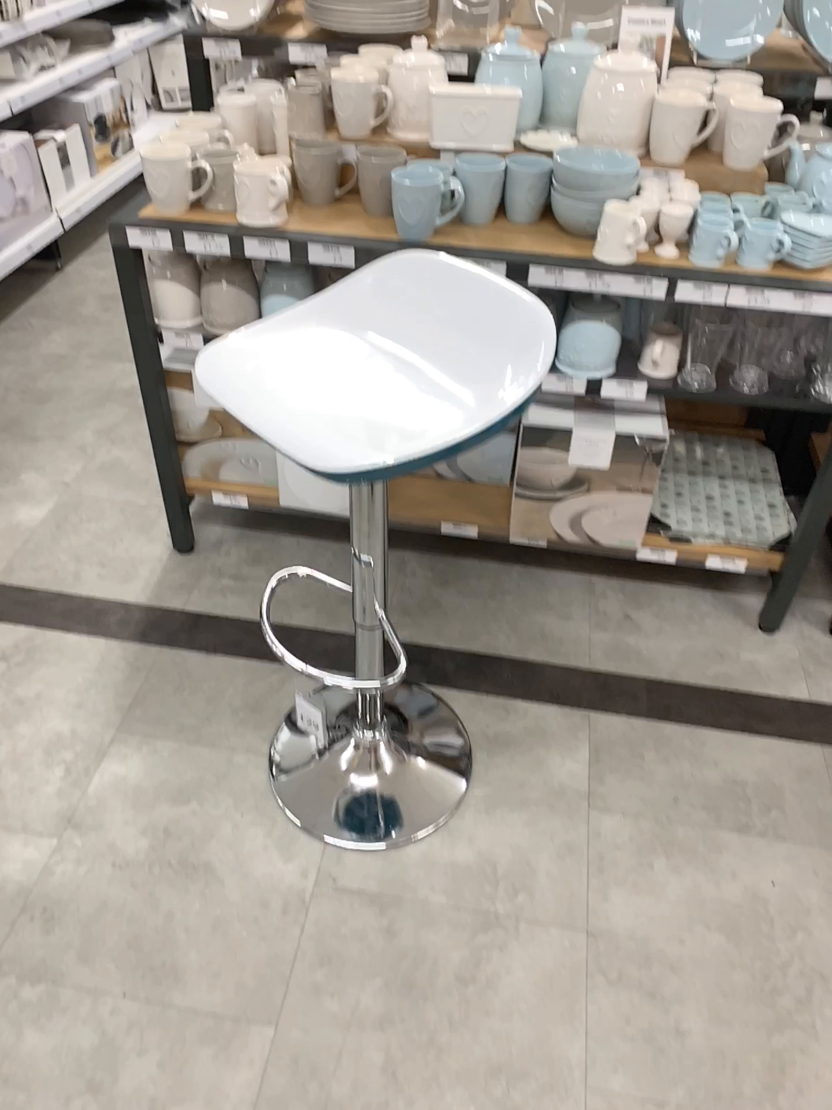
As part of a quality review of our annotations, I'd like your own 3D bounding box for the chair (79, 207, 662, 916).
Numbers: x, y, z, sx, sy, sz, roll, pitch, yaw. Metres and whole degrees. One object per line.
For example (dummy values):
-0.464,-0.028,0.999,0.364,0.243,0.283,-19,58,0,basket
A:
-0.069,0.004,1.248,0.471,0.775,0.505,-31,50,-33,chair
